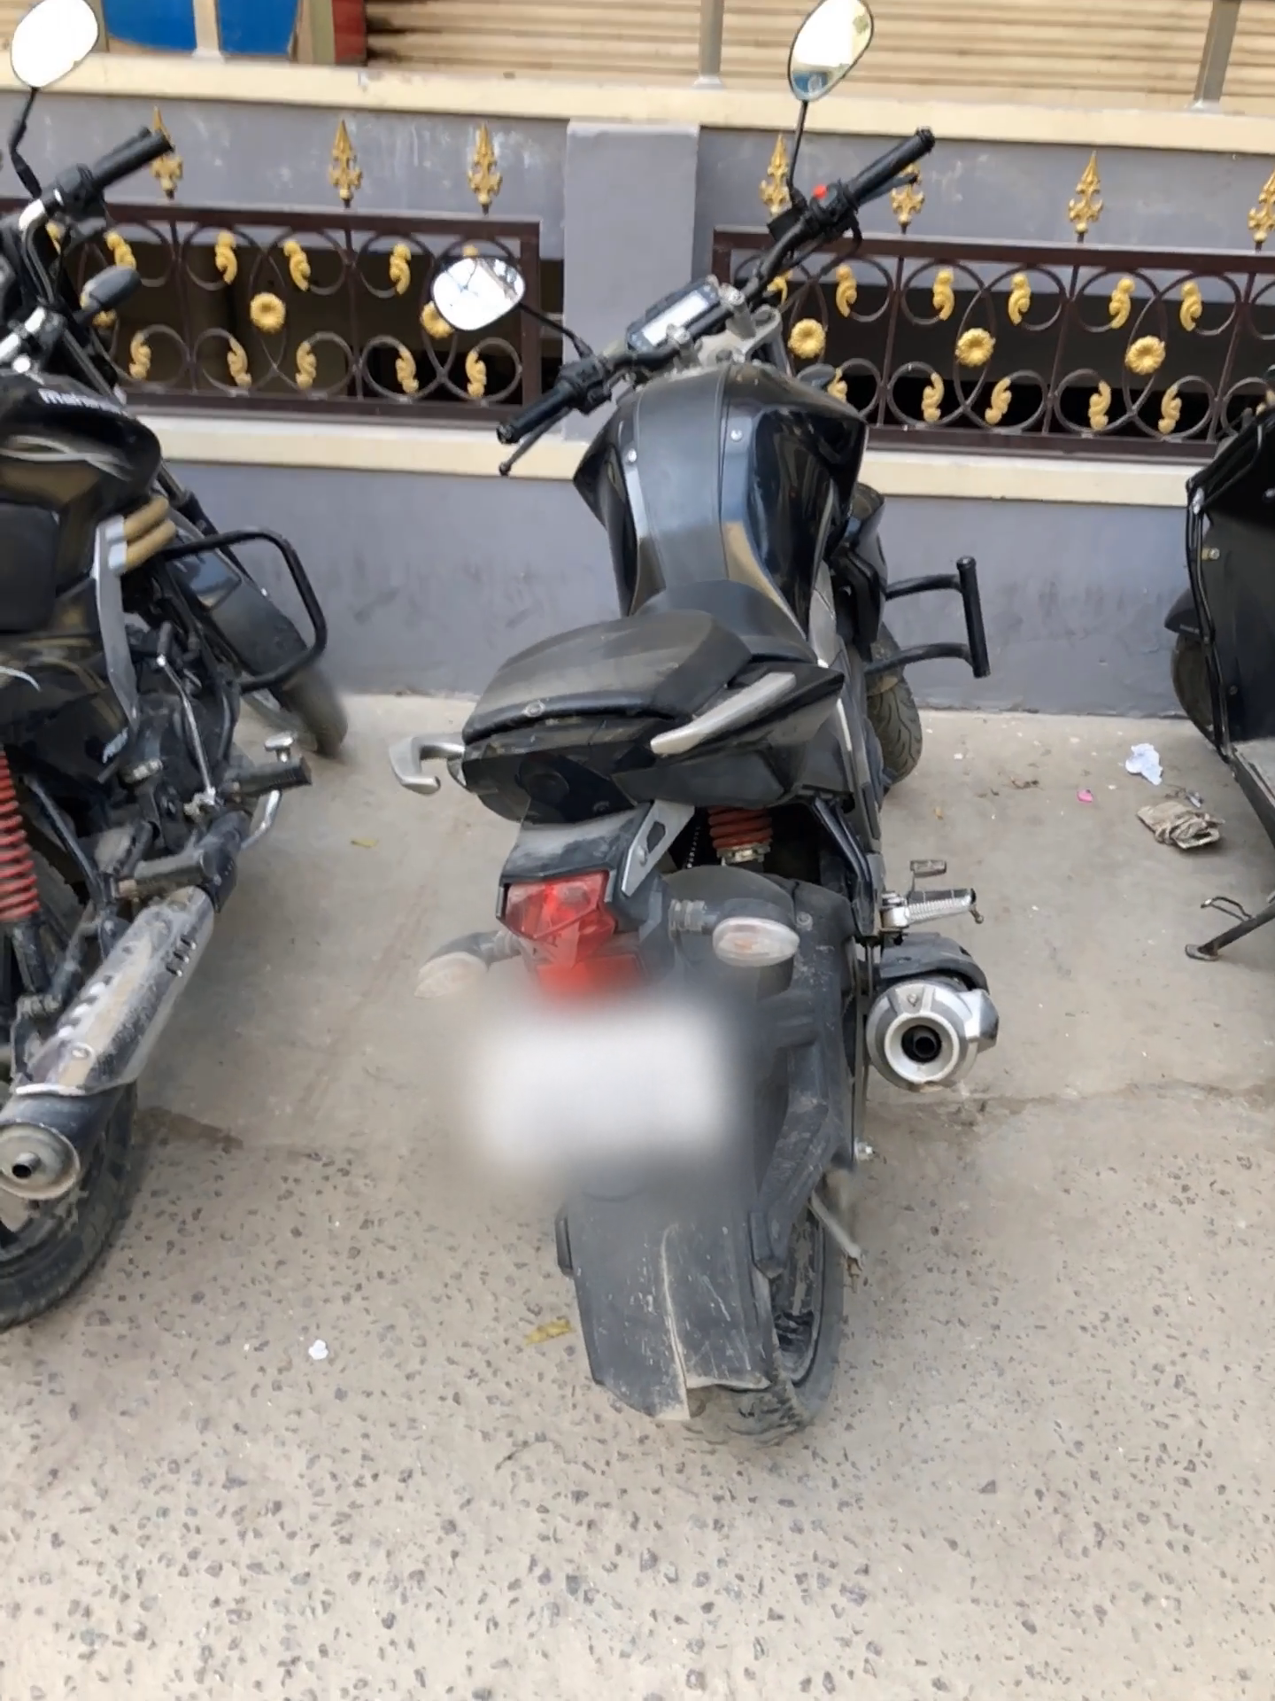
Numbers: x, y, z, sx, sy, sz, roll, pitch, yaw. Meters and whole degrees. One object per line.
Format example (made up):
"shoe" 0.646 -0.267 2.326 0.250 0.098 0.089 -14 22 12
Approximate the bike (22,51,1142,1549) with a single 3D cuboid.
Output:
"bike" -0.029 -0.324 1.904 0.692 1.197 1.767 4 32 2
